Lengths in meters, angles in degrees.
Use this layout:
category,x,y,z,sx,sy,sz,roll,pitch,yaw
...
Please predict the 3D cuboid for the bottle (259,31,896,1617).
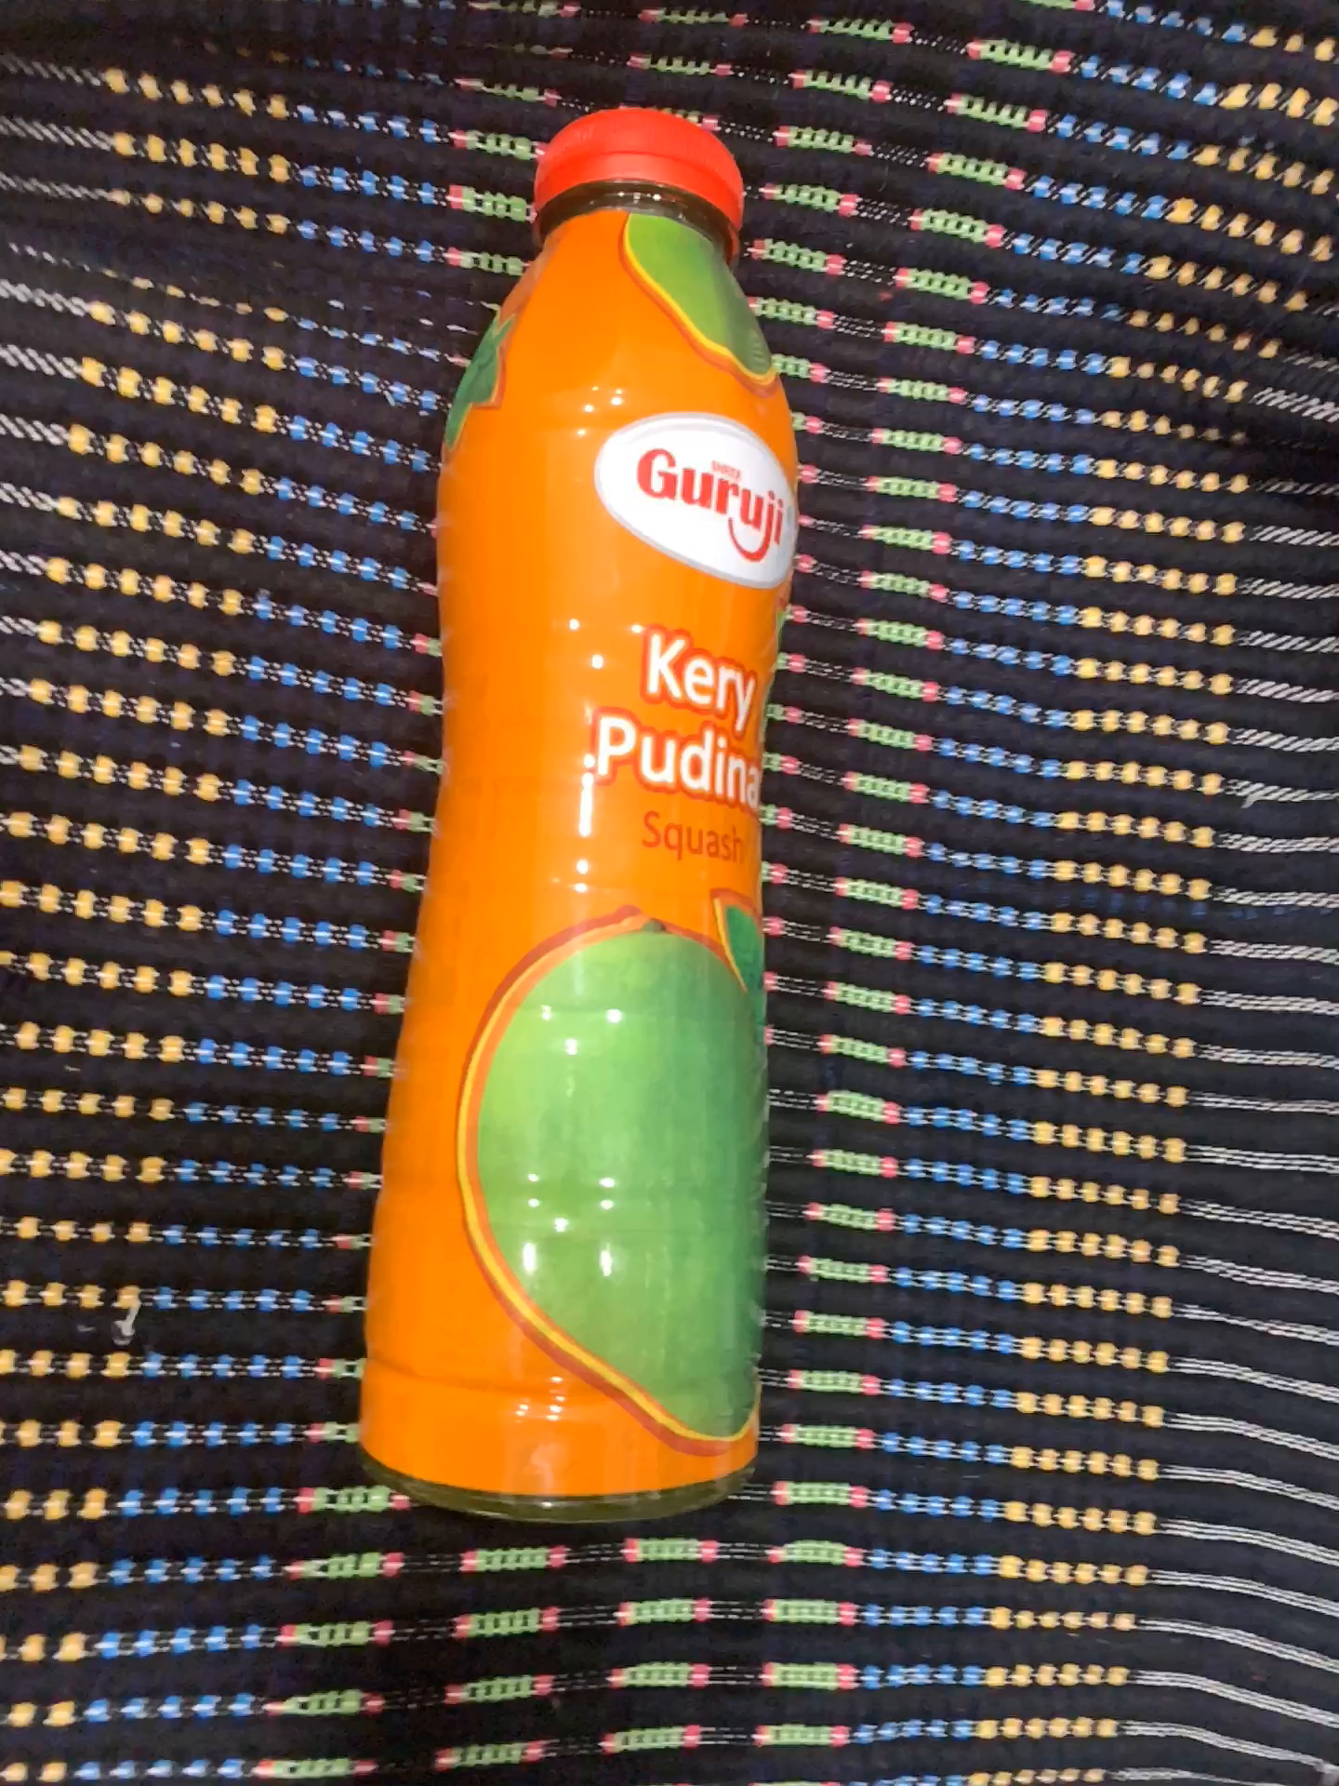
category,x,y,z,sx,sy,sz,roll,pitch,yaw
bottle,-0.009,-0.014,0.242,0.070,0.070,0.230,20,72,-63
